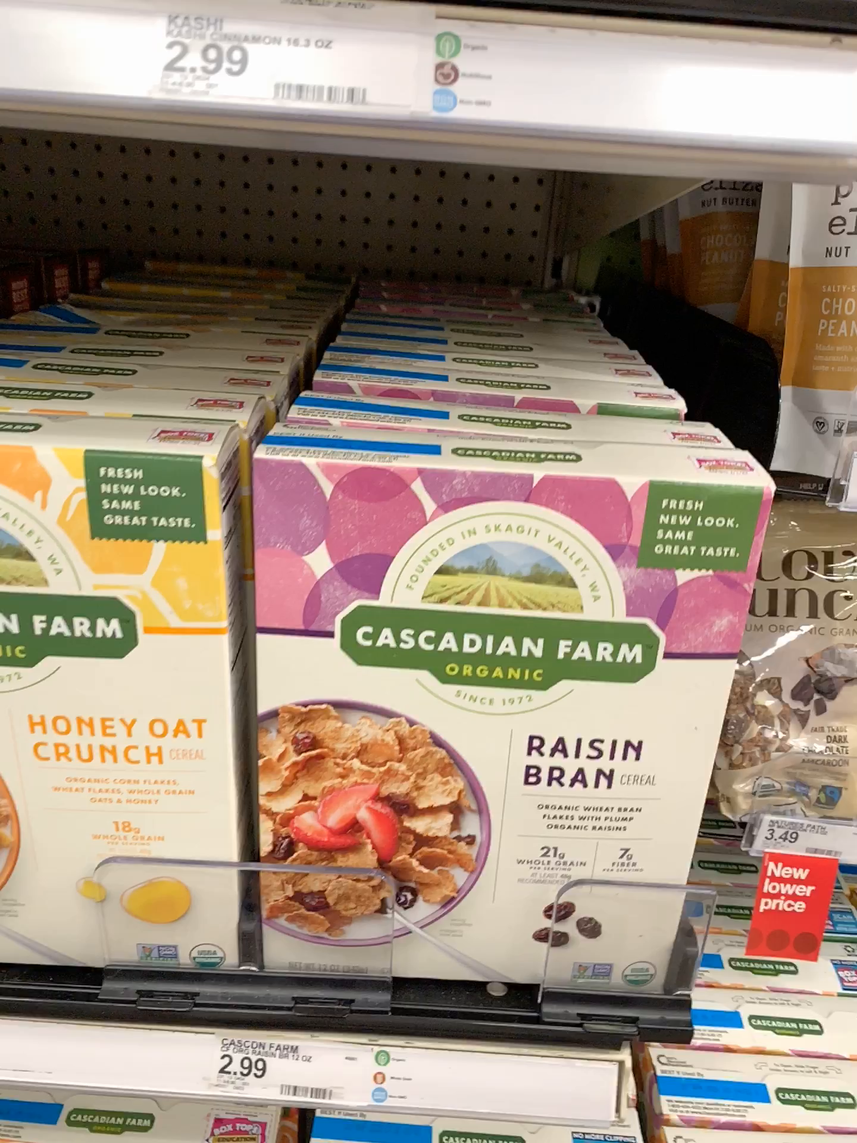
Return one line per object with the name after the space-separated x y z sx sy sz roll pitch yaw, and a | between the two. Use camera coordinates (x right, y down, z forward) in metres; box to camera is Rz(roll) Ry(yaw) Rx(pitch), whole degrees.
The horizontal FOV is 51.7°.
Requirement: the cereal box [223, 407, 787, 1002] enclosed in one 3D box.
0.019 0.072 0.393 0.200 0.269 0.050 4 26 -2 | cereal box
